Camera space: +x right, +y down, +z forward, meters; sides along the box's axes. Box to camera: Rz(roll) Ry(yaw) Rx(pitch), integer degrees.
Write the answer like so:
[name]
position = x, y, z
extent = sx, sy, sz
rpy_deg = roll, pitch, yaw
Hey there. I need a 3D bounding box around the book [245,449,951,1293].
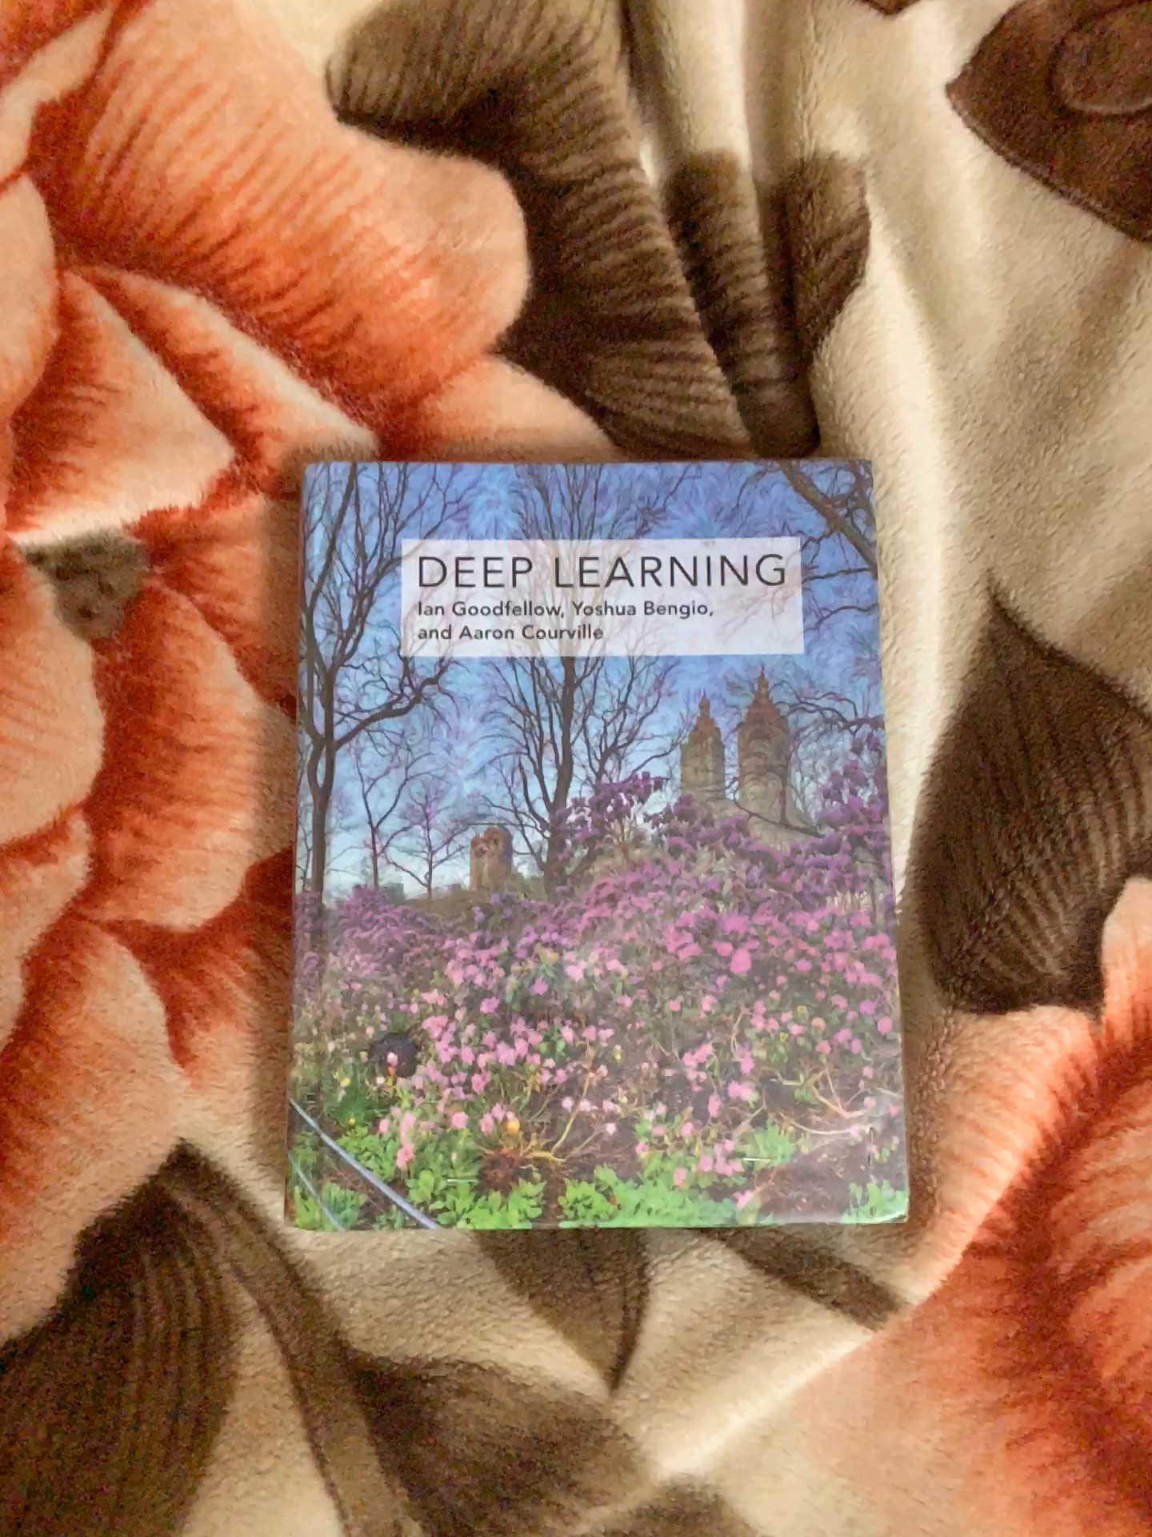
[book]
position = 0.005, 0.026, 0.387
extent = 0.210, 0.030, 0.260
rpy_deg = 0, 81, -3
